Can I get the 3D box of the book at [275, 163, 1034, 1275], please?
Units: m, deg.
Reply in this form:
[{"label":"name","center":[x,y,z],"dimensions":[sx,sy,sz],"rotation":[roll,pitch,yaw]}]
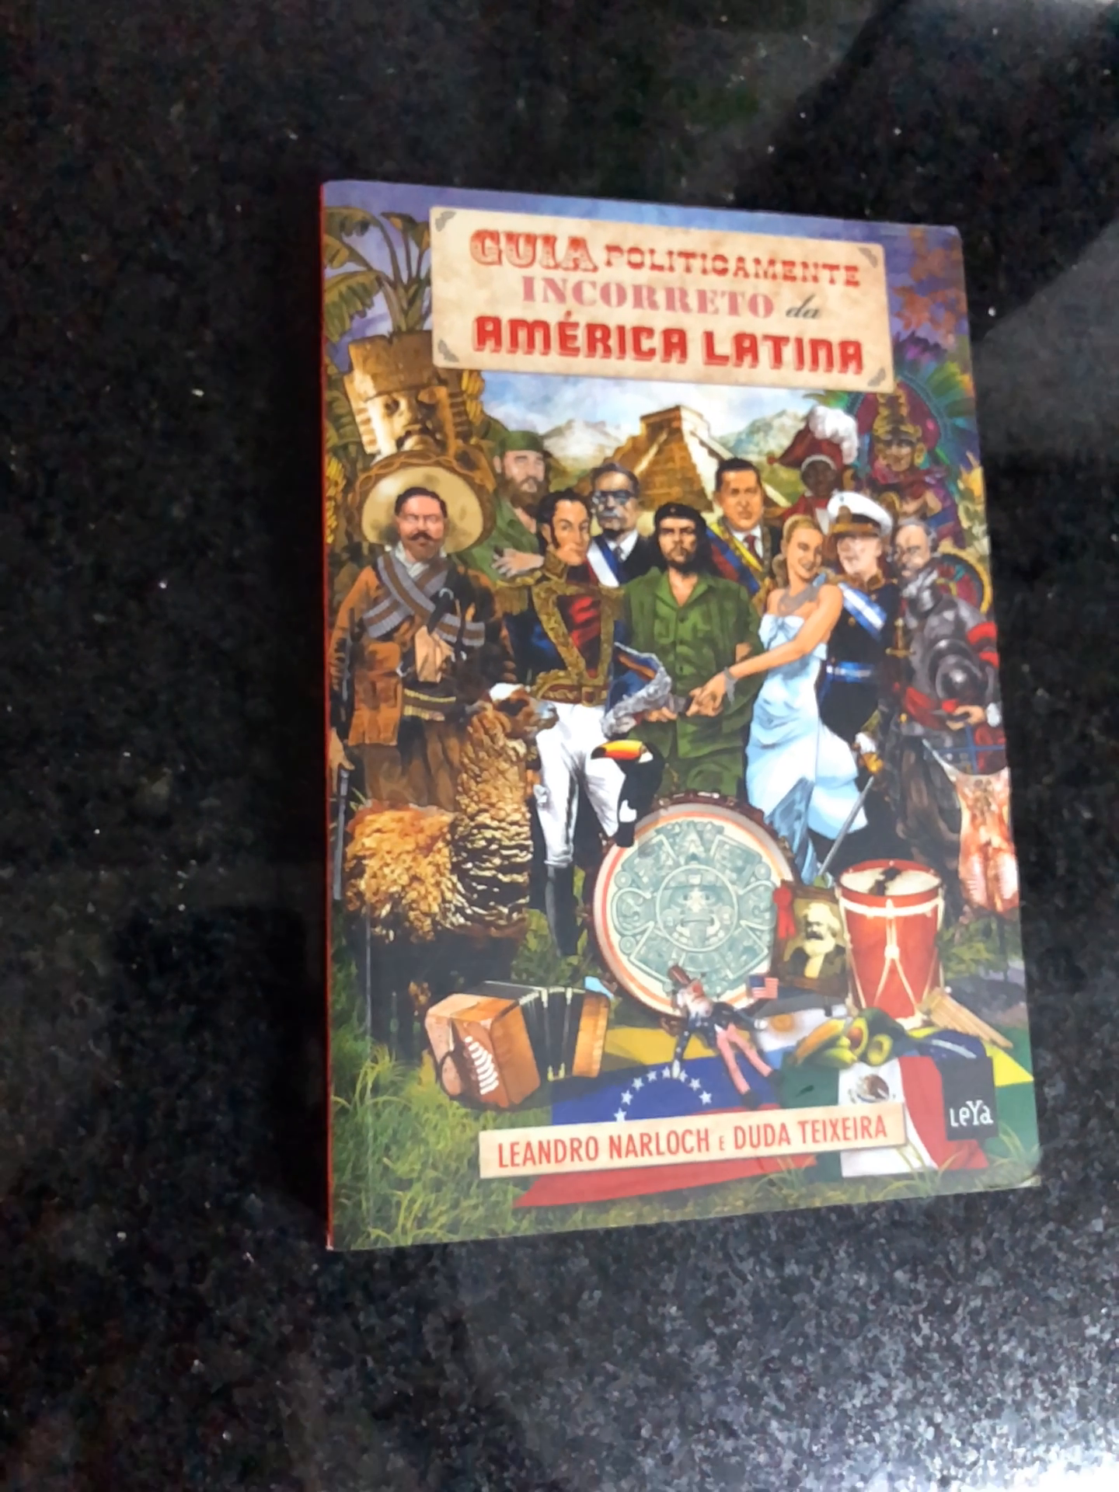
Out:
[{"label":"book","center":[0.015,-0.011,0.278],"dimensions":[0.150,0.040,0.220],"rotation":[-1,81,-12]}]
